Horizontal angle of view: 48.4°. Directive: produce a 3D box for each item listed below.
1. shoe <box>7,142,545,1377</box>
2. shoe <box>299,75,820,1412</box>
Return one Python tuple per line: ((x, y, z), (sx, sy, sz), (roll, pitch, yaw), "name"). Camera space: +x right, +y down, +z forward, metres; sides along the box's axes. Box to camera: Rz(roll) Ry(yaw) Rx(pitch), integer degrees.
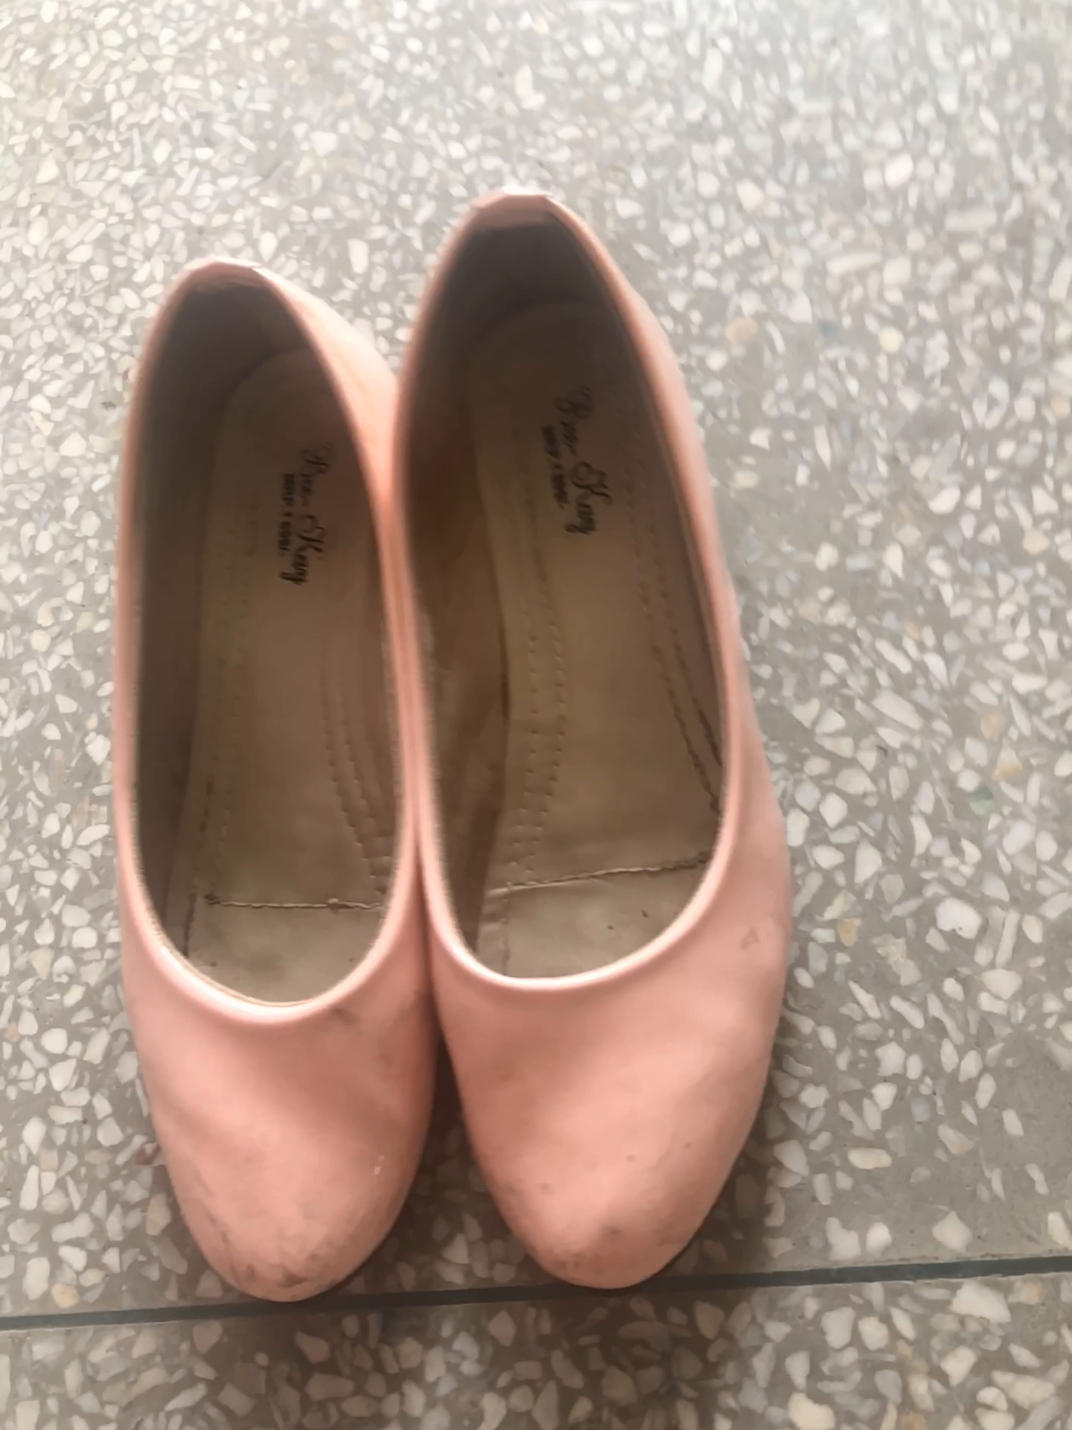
((-0.060, 0.012, 0.294), (0.090, 0.070, 0.260), (-5, 87, 12), "shoe")
((0.005, 0.003, 0.272), (0.090, 0.070, 0.260), (-5, 80, 12), "shoe")
